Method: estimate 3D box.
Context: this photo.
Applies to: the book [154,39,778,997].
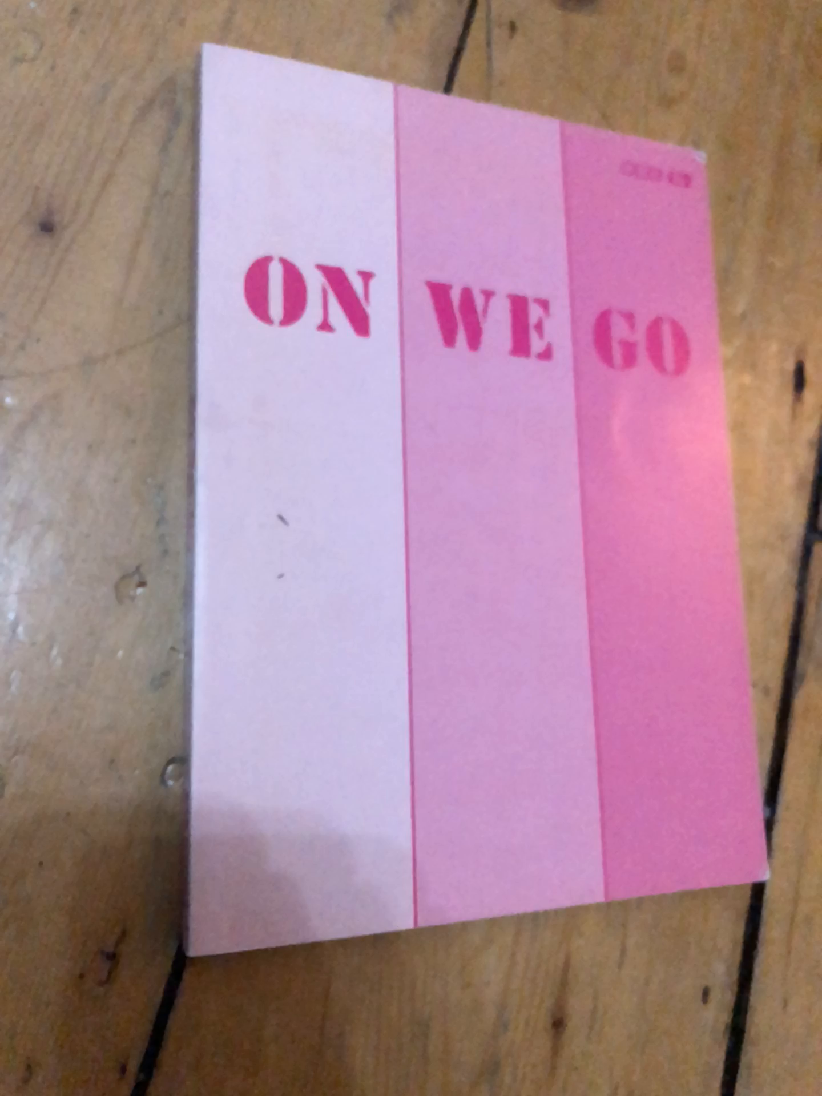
[{"bbox_3d":[0.016,-0.012,0.247,0.160,0.020,0.220,2,80,-21],"label":"book"}]
